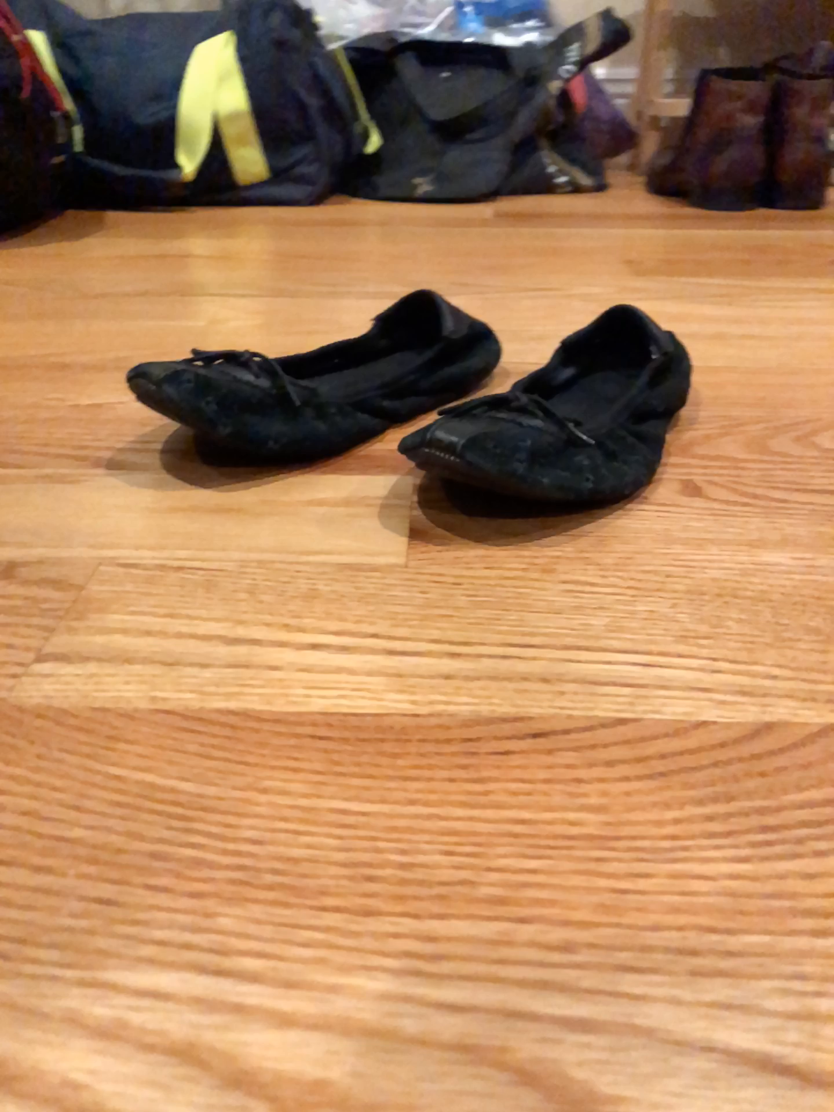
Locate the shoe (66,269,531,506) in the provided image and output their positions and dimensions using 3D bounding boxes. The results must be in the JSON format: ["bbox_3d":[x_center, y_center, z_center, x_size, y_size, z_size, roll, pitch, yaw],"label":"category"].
[{"bbox_3d":[-0.046,-0.097,0.463,0.100,0.050,0.221,20,34,33],"label":"shoe"}]

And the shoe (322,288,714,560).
[{"bbox_3d":[0.059,-0.074,0.420,0.093,0.046,0.221,15,31,26],"label":"shoe"}]
